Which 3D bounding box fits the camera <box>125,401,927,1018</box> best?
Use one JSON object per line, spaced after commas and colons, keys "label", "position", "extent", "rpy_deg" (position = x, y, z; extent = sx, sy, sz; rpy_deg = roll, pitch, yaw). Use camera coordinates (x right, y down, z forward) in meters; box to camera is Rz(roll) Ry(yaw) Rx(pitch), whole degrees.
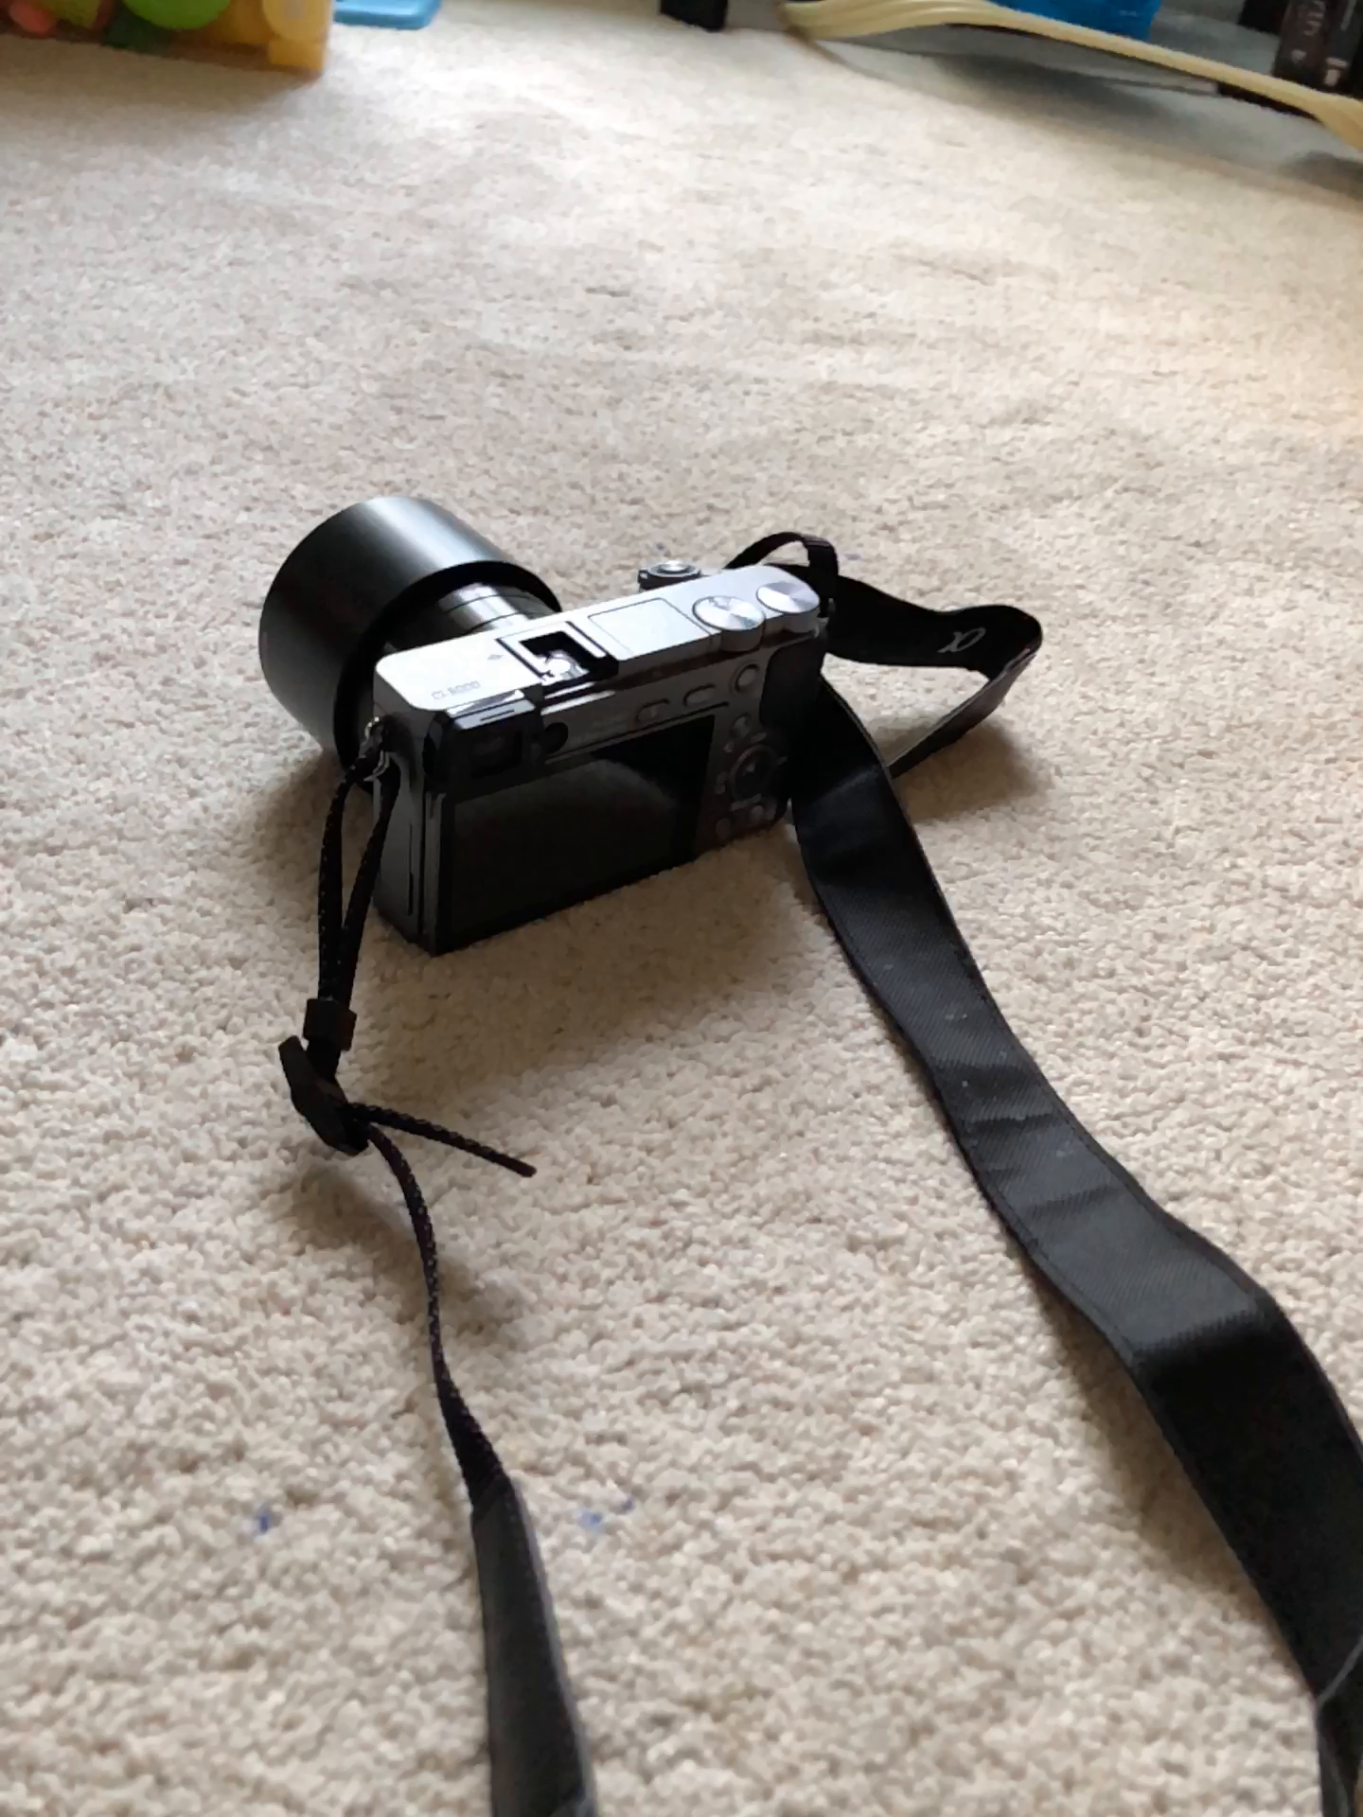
{"label": "camera", "position": [-0.037, -0.057, 0.356], "extent": [0.140, 0.070, 0.110], "rpy_deg": [-23, 49, -35]}
